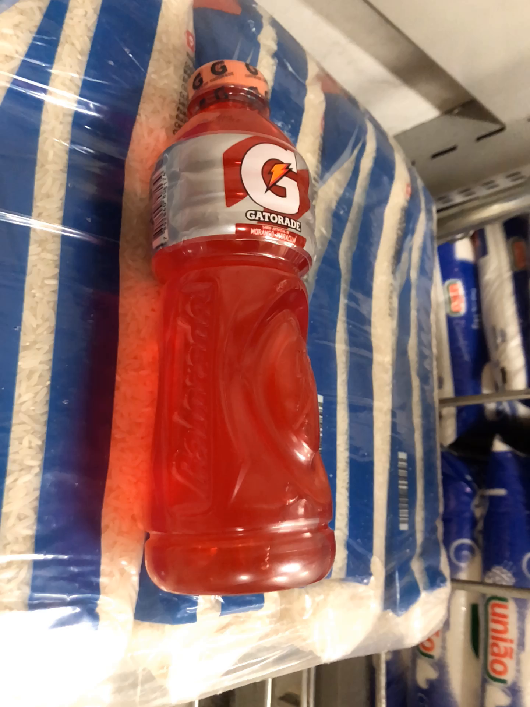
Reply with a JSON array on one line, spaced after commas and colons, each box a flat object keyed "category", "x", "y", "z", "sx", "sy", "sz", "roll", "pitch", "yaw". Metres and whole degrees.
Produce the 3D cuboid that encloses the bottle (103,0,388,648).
[{"category": "bottle", "x": -0.005, "y": -0.022, "z": 0.225, "sx": 0.080, "sy": 0.060, "sz": 0.220, "roll": 8, "pitch": 78, "yaw": -41}]
